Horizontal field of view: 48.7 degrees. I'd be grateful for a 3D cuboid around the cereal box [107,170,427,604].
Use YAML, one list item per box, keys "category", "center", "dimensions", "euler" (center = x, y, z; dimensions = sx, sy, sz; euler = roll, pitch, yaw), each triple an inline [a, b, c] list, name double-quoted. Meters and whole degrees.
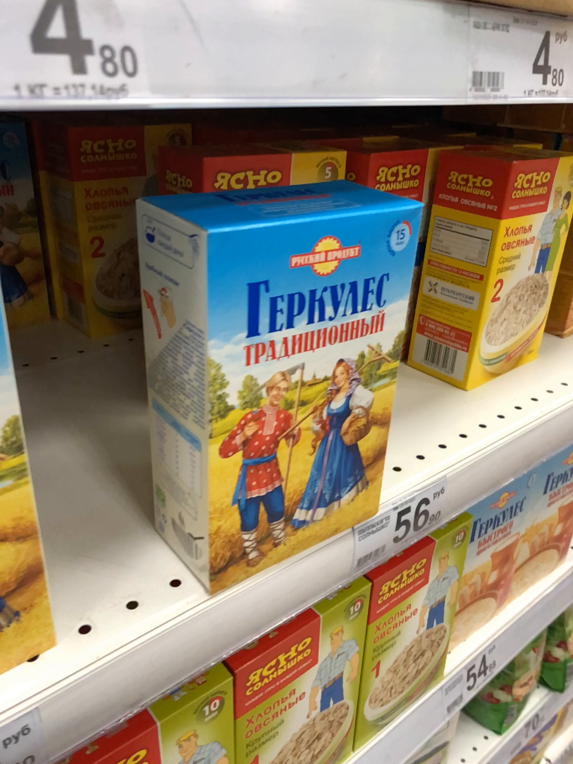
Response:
- category: "cereal box"
  center: [-0.010, -0.004, 0.332]
  dimensions: [0.130, 0.189, 0.070]
  euler: [-17, 33, -34]
